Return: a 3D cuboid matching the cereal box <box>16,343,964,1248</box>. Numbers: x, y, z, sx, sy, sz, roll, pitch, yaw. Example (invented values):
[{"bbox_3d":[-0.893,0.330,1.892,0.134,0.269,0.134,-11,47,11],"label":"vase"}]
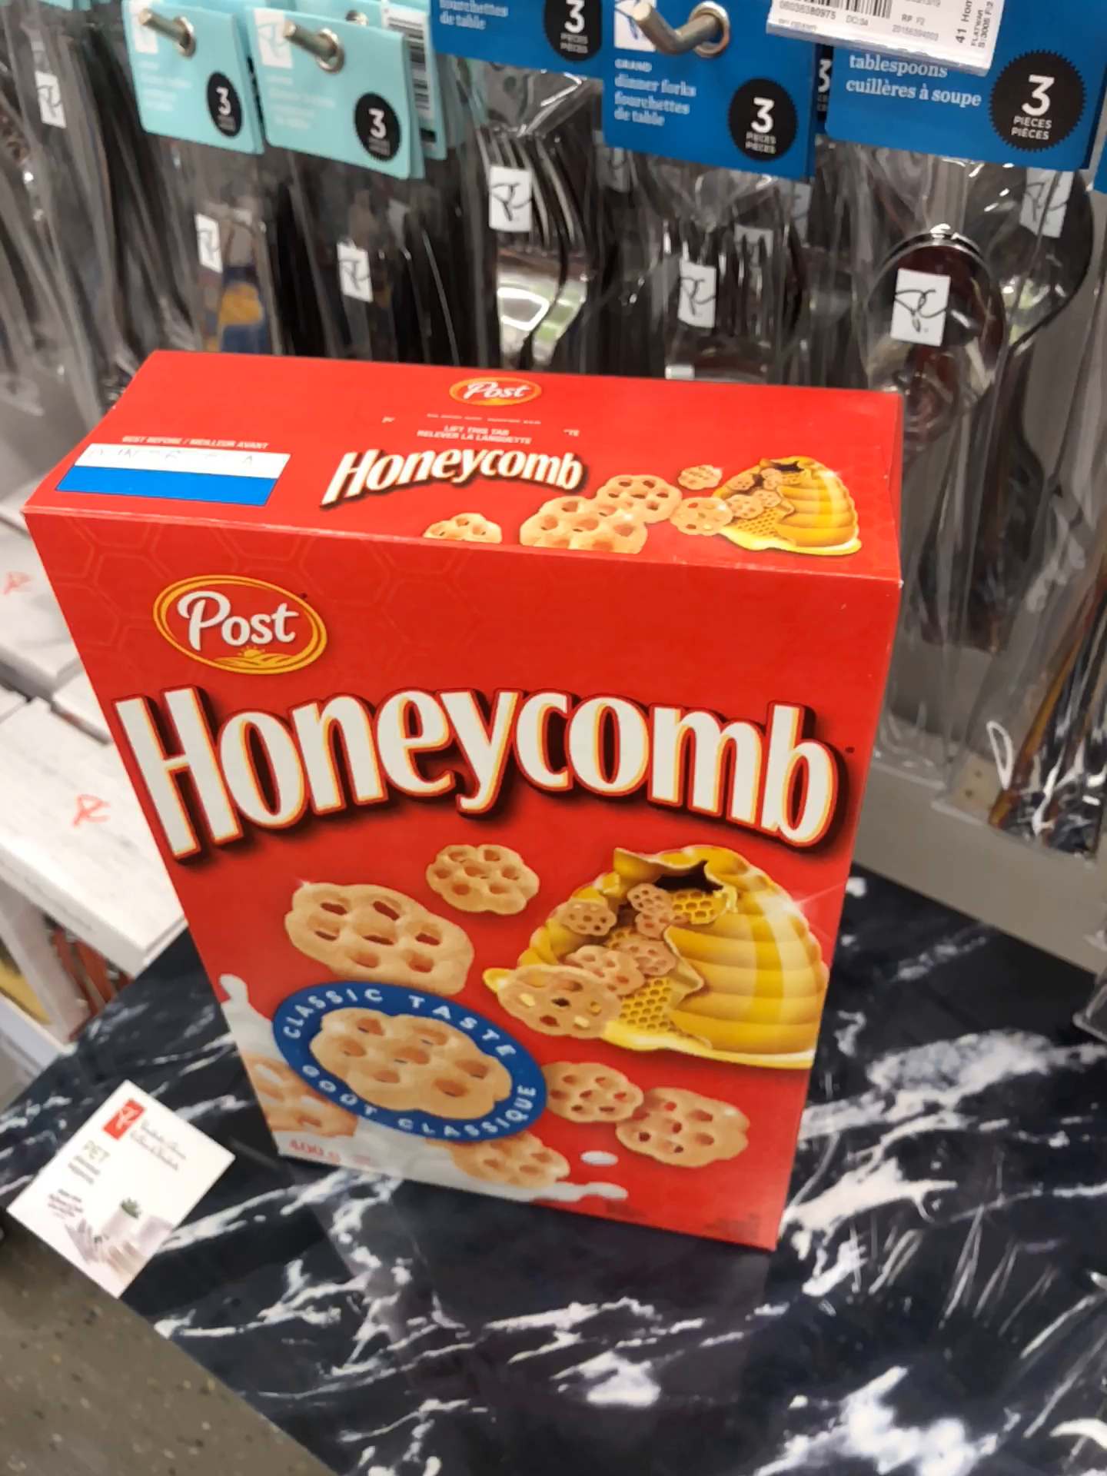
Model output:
[{"bbox_3d":[-0.007,0.039,0.392,0.210,0.299,0.070,7,44,11],"label":"cereal box"}]
